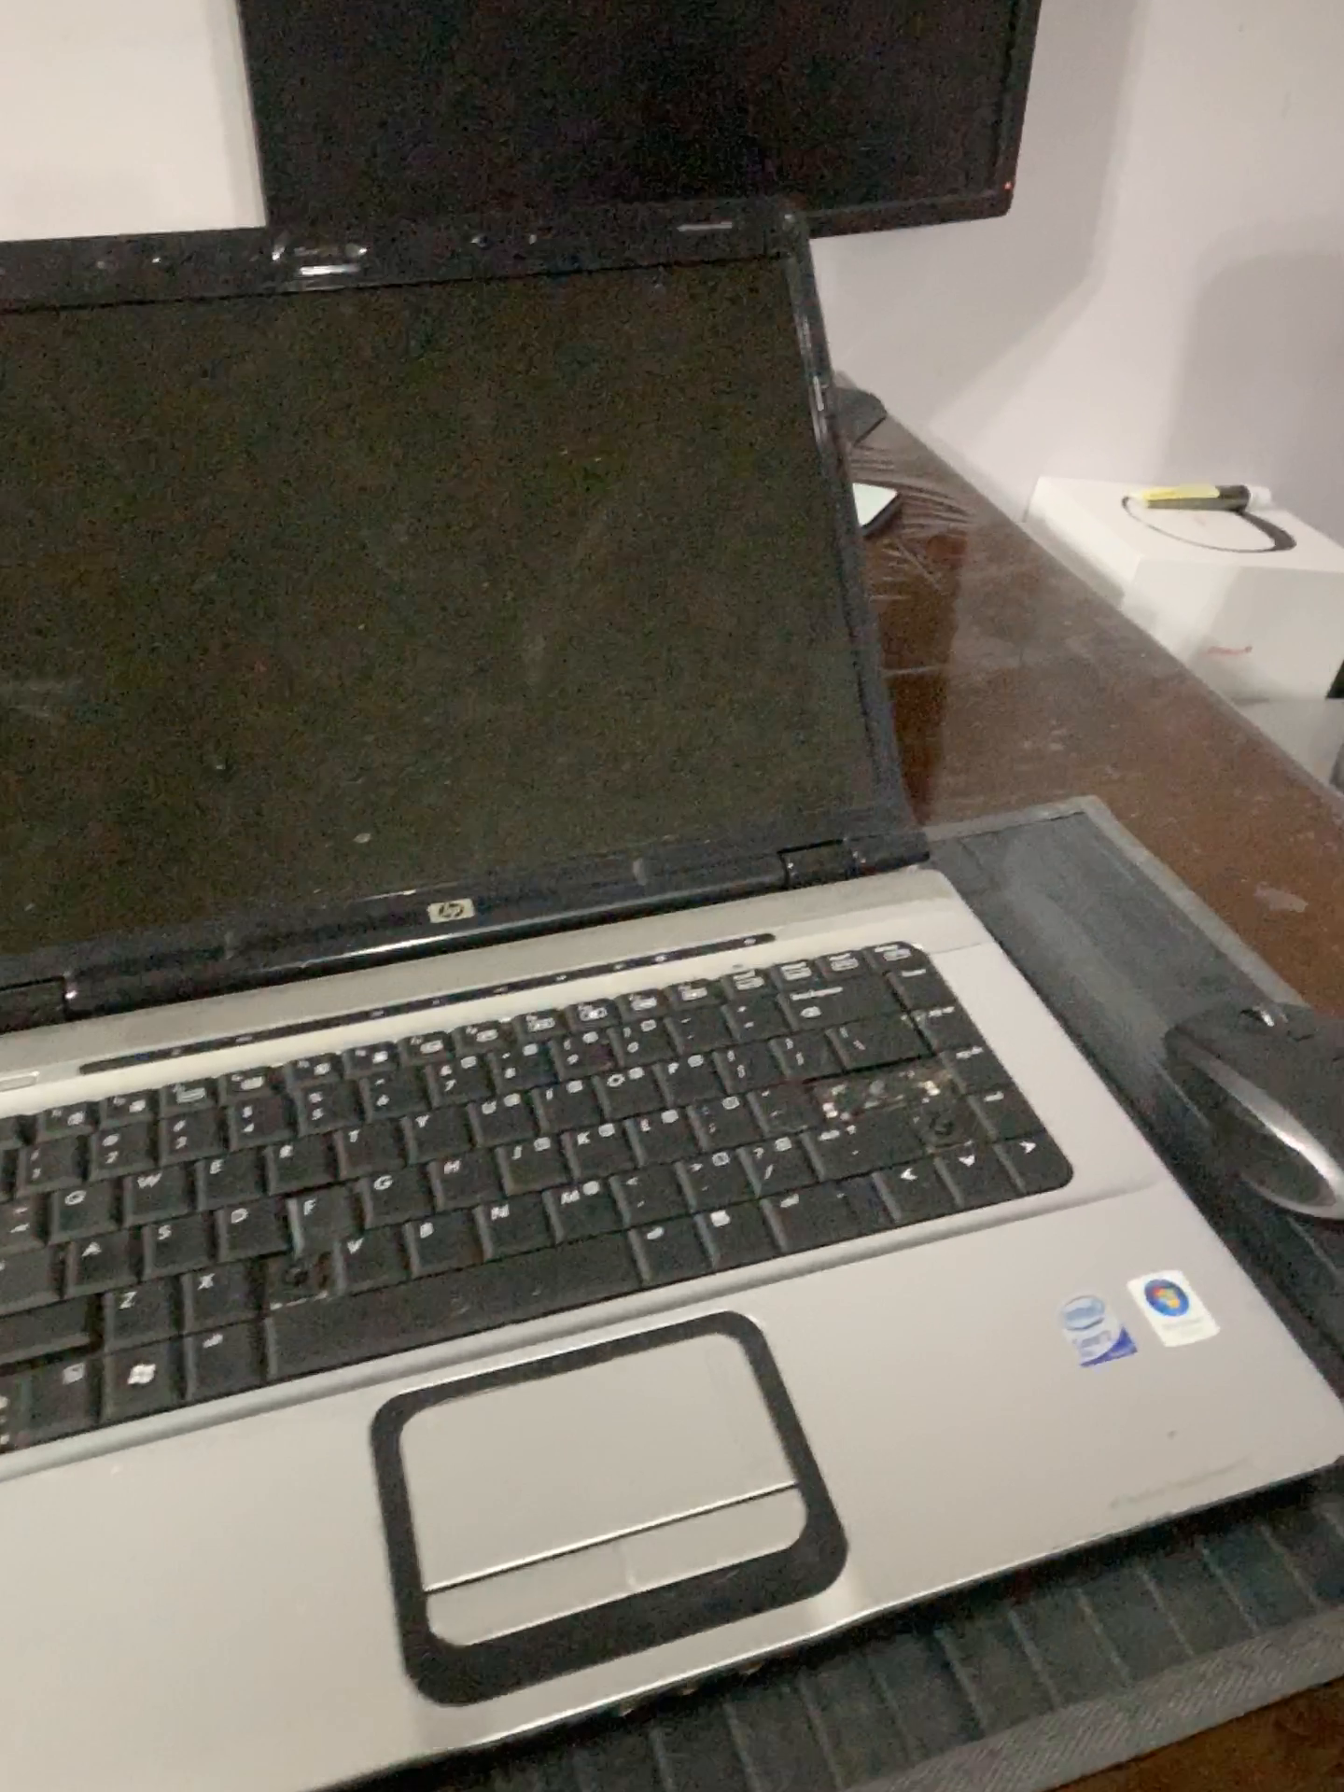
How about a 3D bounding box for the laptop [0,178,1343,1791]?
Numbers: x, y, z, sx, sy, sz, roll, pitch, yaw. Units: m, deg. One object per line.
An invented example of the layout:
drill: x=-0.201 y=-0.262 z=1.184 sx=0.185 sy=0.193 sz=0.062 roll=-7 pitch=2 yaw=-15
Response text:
laptop: x=-0.064 y=-0.041 z=0.374 sx=0.349 sy=0.186 sz=0.404 roll=-10 pitch=39 yaw=-14
